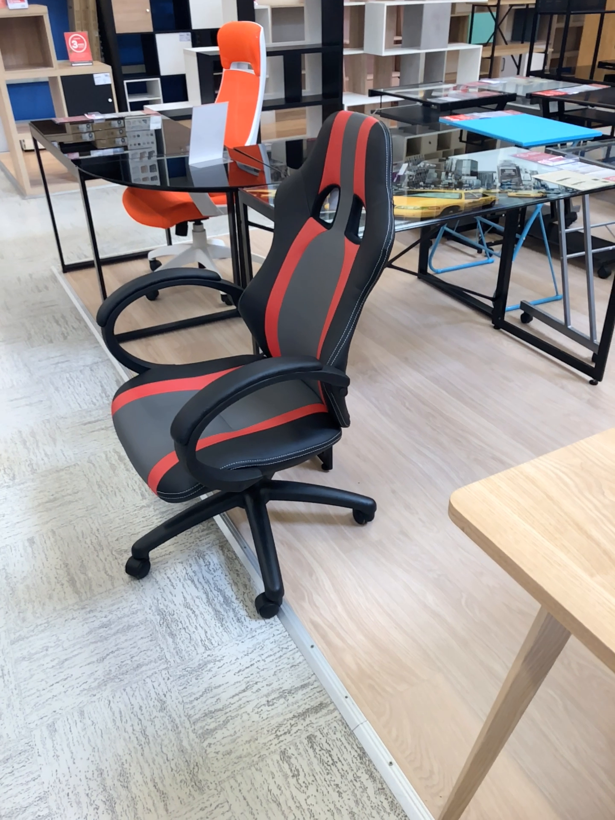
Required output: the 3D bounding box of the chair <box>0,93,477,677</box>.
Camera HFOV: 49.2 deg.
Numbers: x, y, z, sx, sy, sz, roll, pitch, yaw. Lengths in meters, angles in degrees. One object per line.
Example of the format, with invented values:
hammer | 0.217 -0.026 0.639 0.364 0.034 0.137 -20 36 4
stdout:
chair | -0.174 -0.123 1.469 0.692 0.924 0.692 -16 34 -22
